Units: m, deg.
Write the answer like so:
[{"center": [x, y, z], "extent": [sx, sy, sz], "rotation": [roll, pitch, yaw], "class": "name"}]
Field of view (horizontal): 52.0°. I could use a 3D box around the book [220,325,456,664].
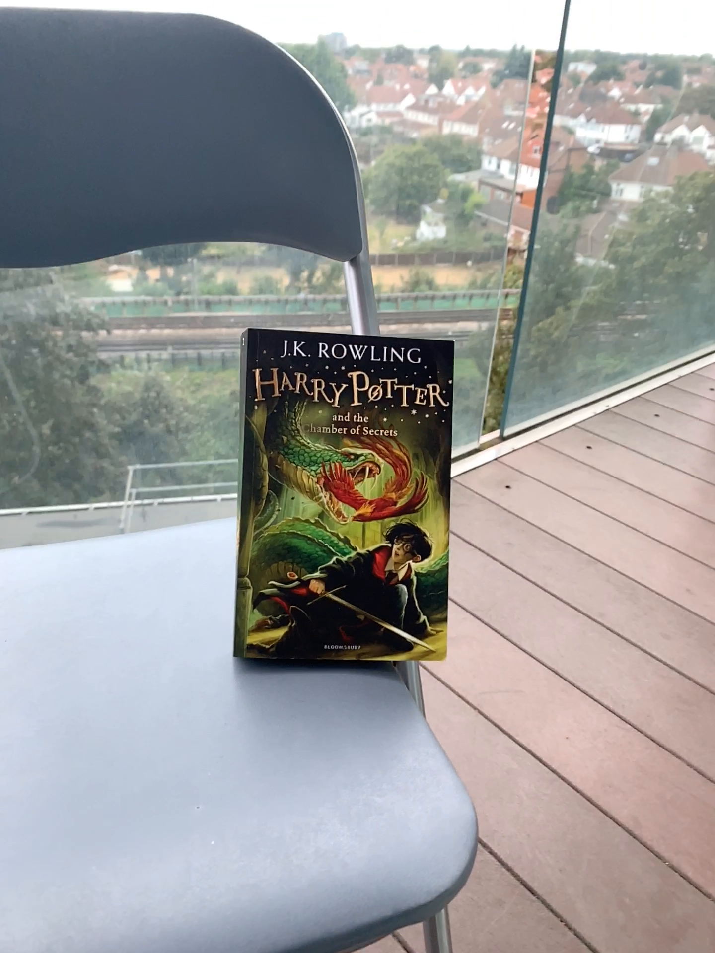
[{"center": [-0.012, 0.010, 0.457], "extent": [0.140, 0.200, 0.040], "rotation": [0, 0, -4], "class": "book"}]
